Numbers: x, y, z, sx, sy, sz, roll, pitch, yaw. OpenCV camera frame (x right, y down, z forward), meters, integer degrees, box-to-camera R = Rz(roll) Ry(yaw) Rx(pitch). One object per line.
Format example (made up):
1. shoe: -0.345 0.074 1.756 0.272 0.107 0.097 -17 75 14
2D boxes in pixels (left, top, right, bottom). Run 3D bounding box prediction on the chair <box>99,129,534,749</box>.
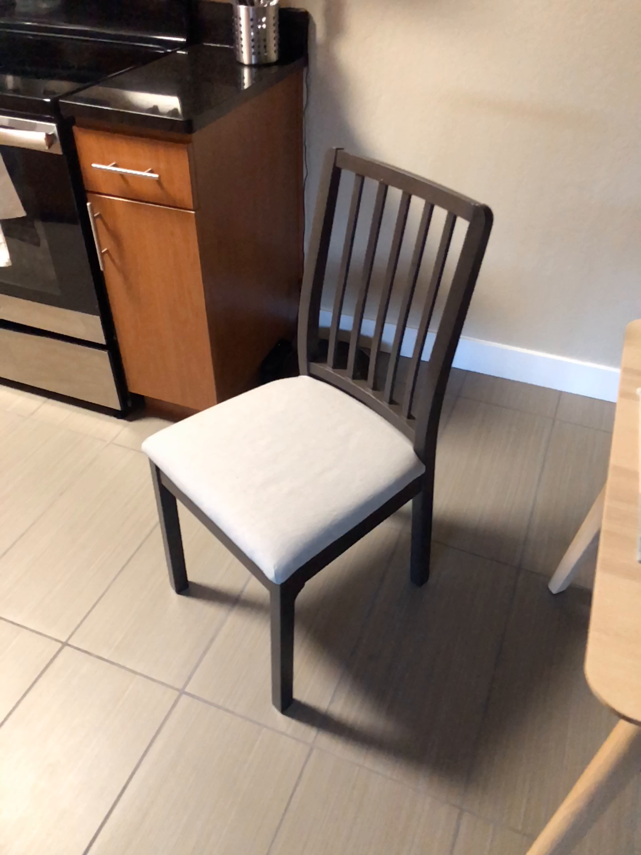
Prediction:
1. chair: -0.022 0.063 1.482 0.511 1.124 0.482 -25 46 -28
